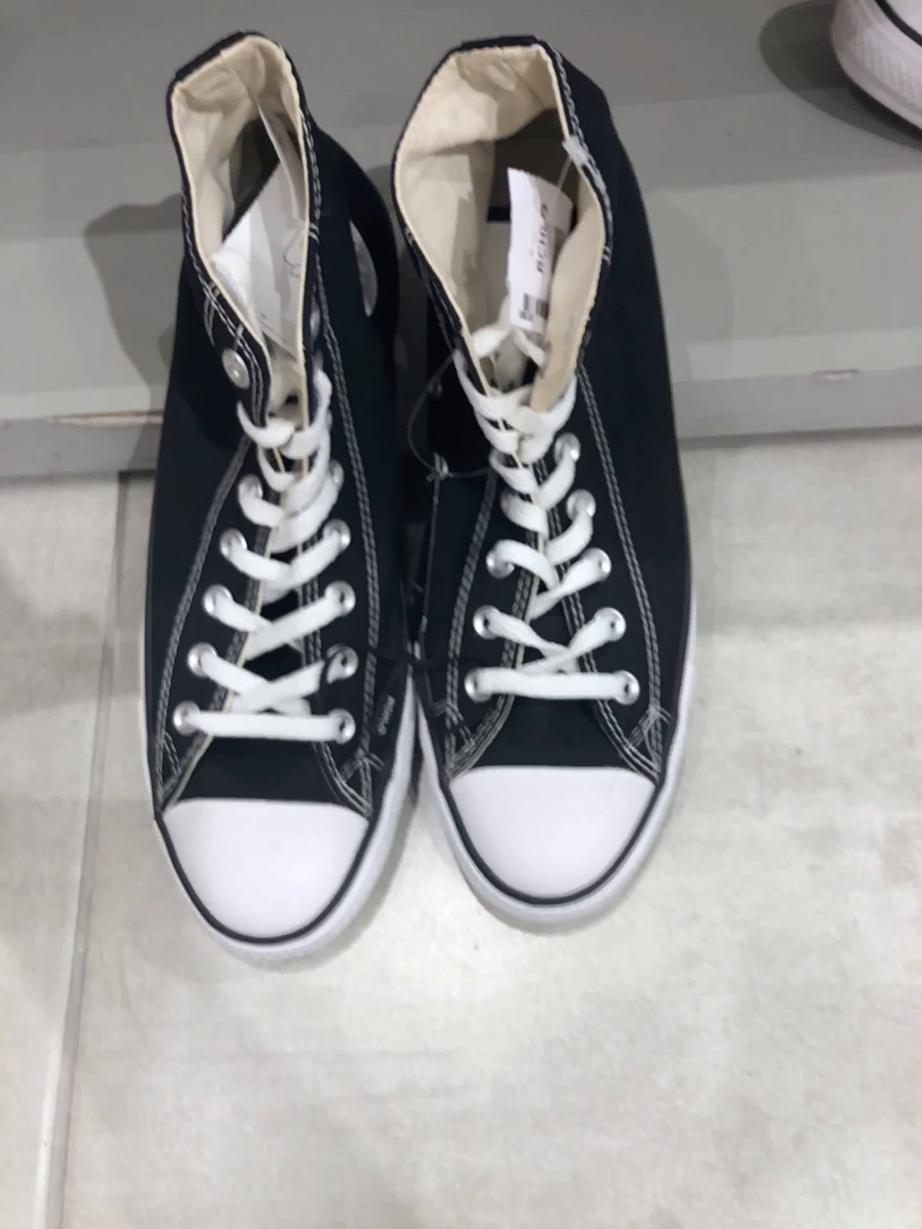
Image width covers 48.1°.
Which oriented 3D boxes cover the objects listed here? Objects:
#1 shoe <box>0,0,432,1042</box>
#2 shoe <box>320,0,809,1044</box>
[{"bbox_3d":[-0.076,-0.034,0.366,0.120,0.140,0.310,0,91,3],"label":"shoe"},{"bbox_3d":[0.030,-0.051,0.348,0.120,0.140,0.330,-2,91,2],"label":"shoe"}]
